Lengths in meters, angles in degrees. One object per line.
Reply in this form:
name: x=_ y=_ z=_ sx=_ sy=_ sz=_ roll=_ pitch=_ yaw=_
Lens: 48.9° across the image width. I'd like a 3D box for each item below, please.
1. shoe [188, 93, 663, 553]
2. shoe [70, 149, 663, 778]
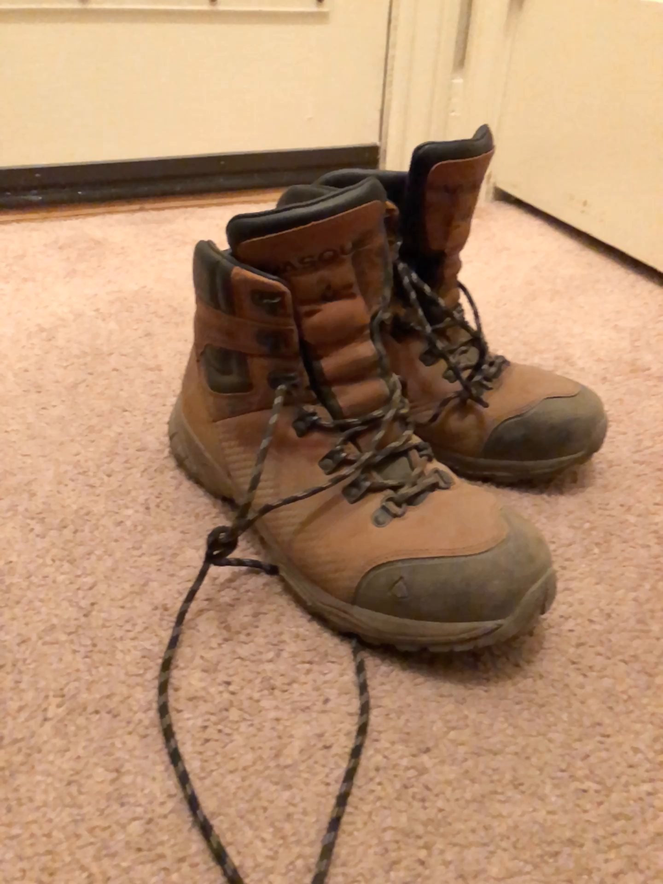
shoe: x=0.059 y=-0.102 z=0.534 sx=0.311 sy=0.229 sz=0.121 roll=23 pitch=39 yaw=26
shoe: x=0.001 y=-0.014 z=0.420 sx=0.311 sy=0.219 sz=0.121 roll=31 pitch=43 yaw=34
